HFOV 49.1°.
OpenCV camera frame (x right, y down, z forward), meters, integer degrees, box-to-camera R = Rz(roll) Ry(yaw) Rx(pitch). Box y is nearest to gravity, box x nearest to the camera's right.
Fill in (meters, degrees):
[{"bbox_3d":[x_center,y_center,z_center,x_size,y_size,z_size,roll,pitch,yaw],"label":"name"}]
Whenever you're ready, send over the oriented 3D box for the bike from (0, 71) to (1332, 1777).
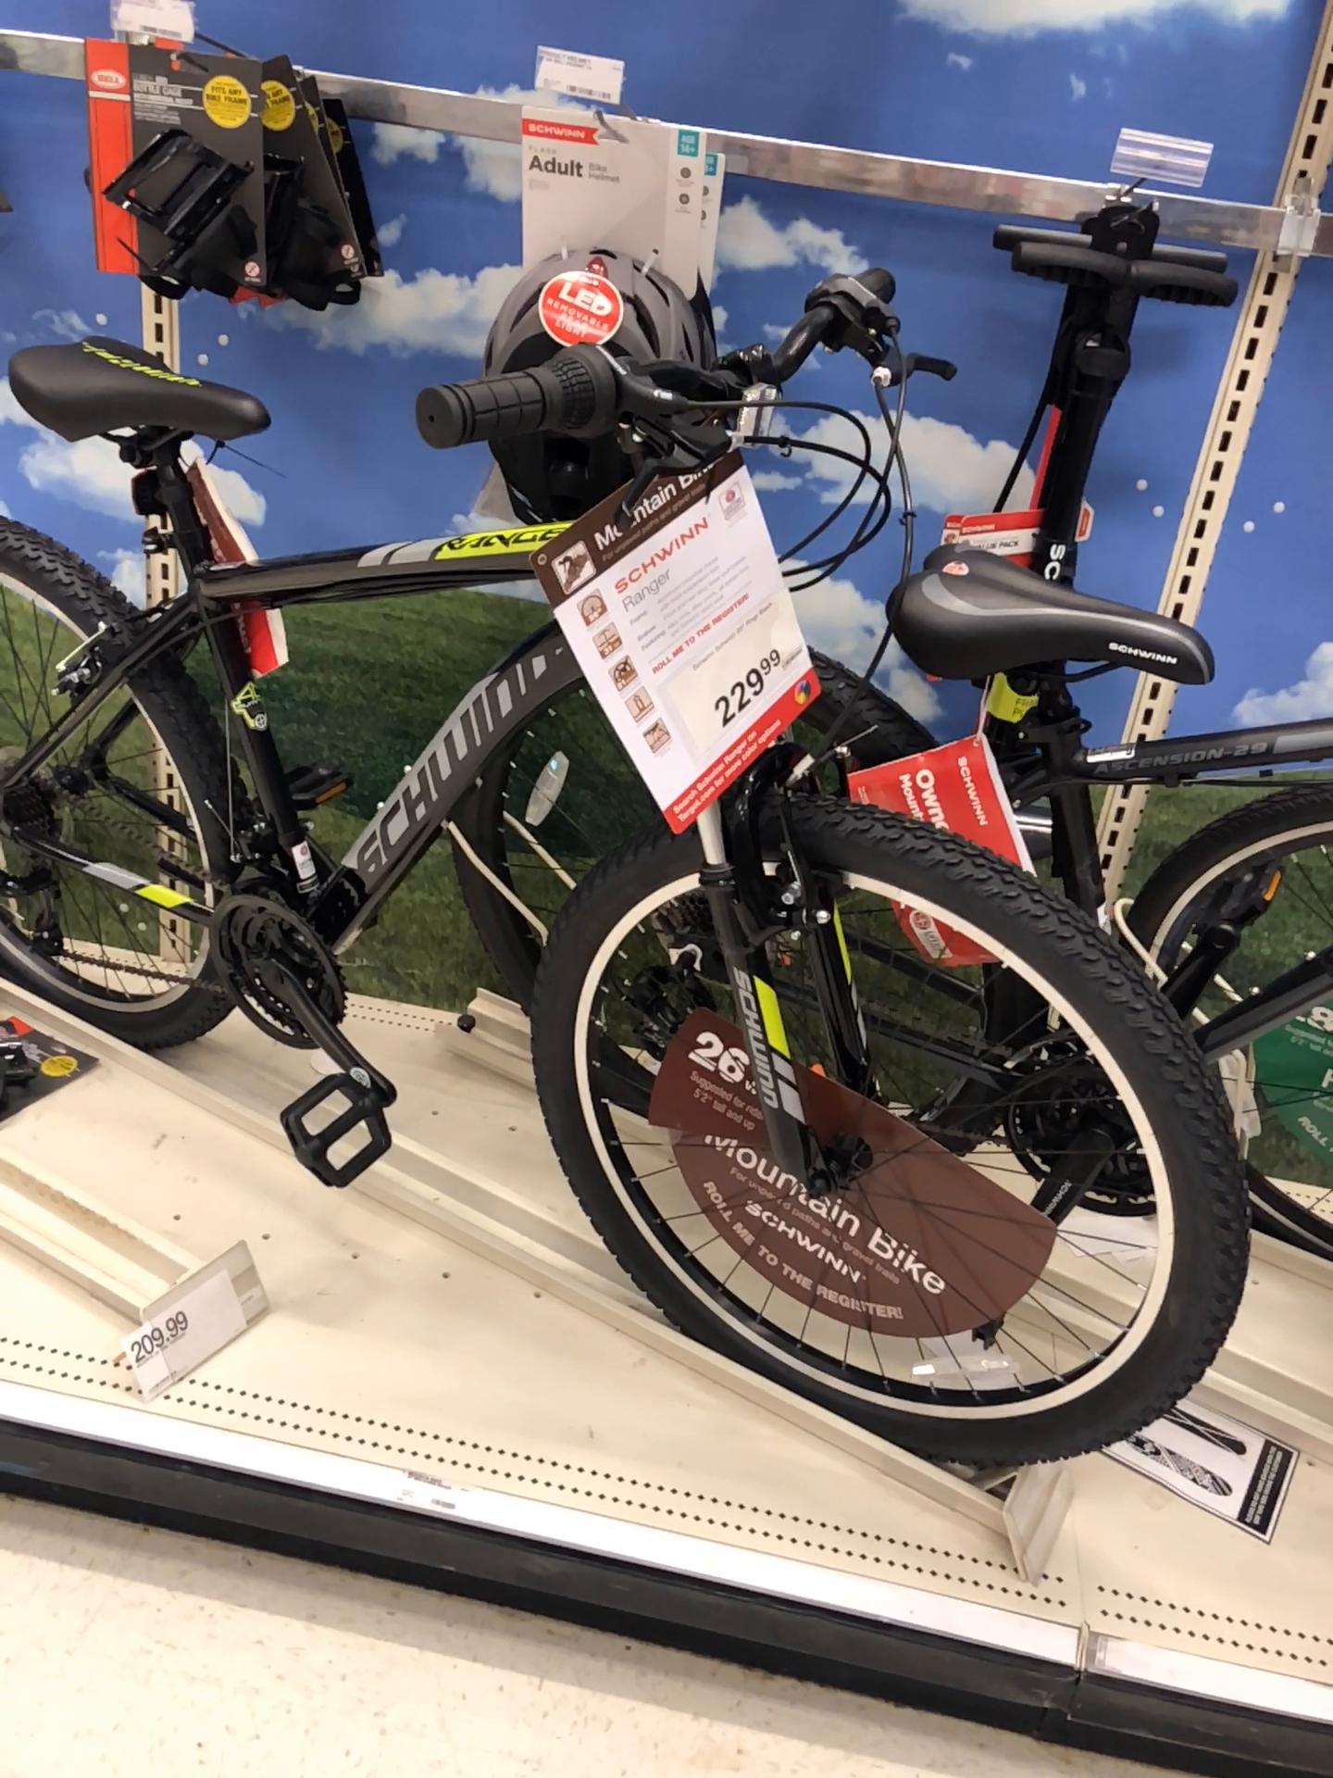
[{"bbox_3d":[-0.313,-0.015,1.314,1.653,1.002,0.601,23,29,25],"label":"bike"}]
